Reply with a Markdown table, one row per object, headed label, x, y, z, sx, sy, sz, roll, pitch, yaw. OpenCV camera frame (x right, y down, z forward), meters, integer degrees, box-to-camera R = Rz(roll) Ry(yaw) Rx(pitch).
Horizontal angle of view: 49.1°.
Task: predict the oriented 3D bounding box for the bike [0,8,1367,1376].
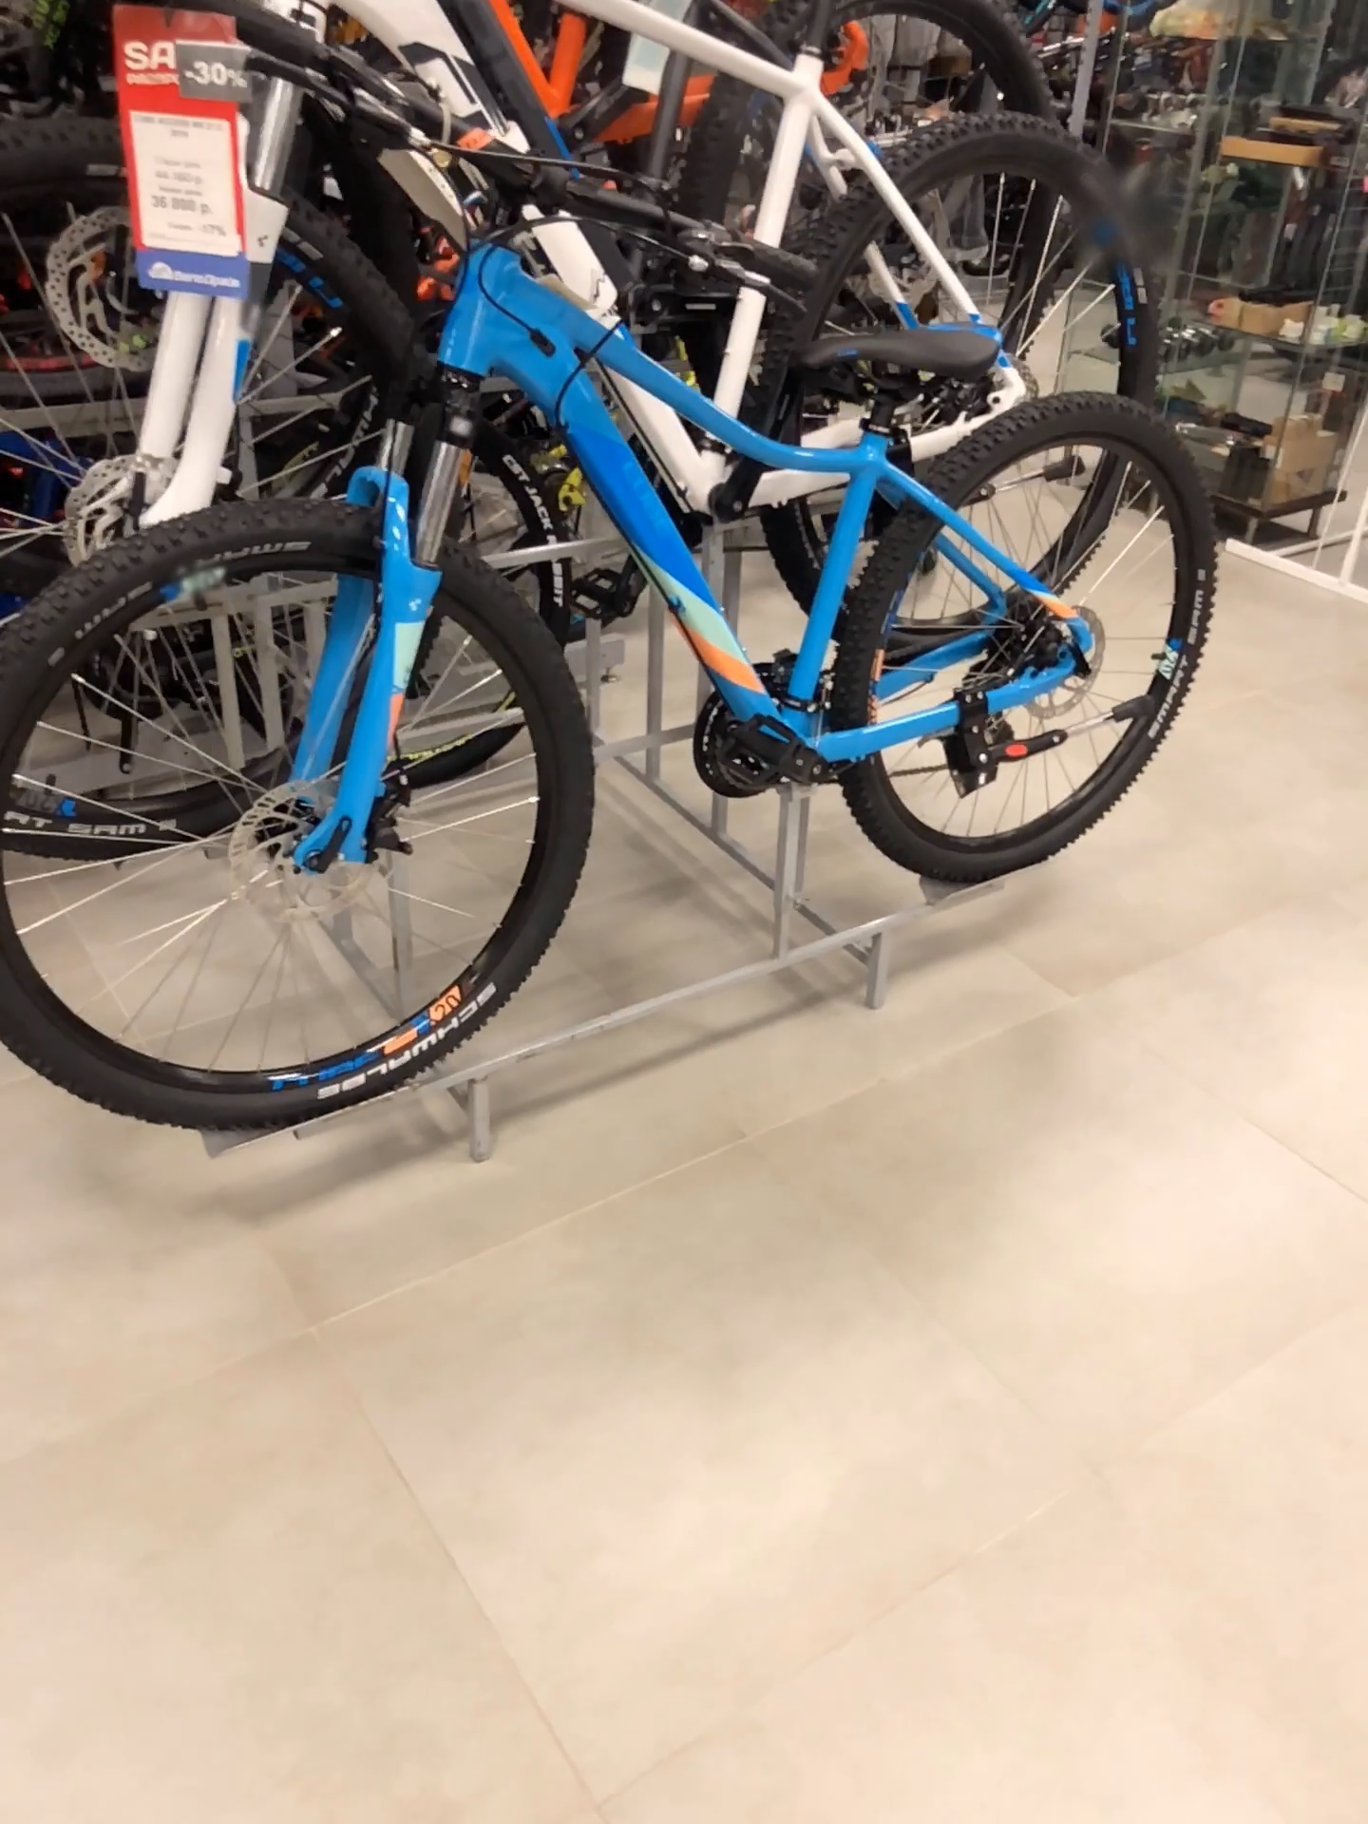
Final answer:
| label | x | y | z | sx | sy | sz | roll | pitch | yaw |
| --- | --- | --- | --- | --- | --- | --- | --- | --- | --- |
| bike | -0.021 | -0.395 | 1.745 | 1.705 | 1.082 | 0.632 | -18 | 38 | -30 |
